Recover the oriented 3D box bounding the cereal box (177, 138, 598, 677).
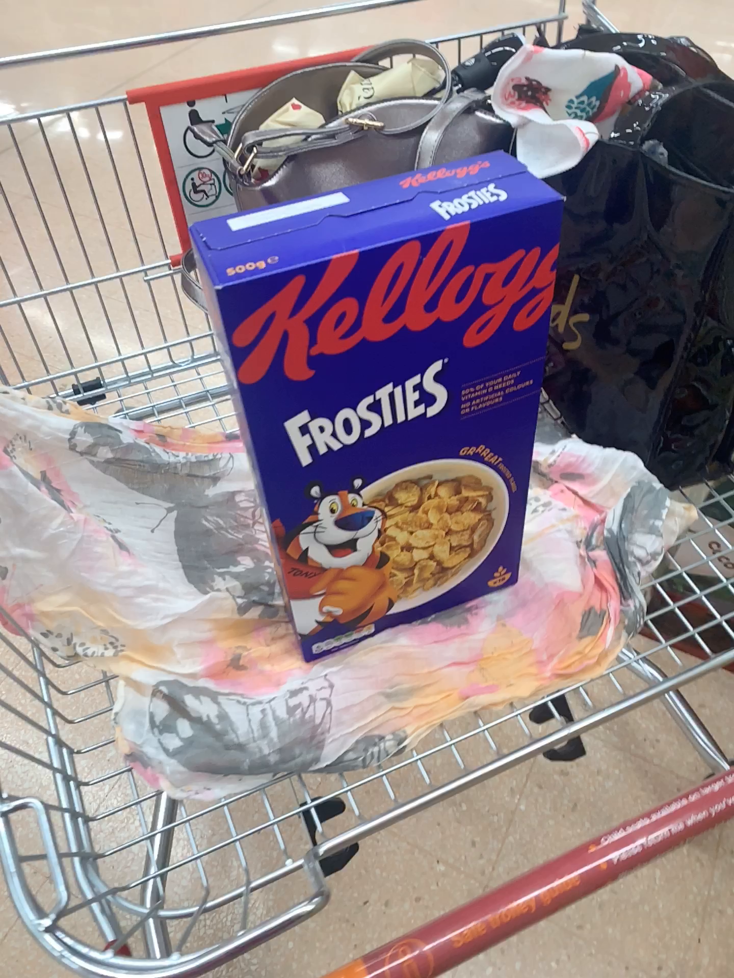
[{"bbox_3d":[0.018,-0.034,0.514,0.210,0.337,0.081,-18,45,-15],"label":"cereal box"}]
